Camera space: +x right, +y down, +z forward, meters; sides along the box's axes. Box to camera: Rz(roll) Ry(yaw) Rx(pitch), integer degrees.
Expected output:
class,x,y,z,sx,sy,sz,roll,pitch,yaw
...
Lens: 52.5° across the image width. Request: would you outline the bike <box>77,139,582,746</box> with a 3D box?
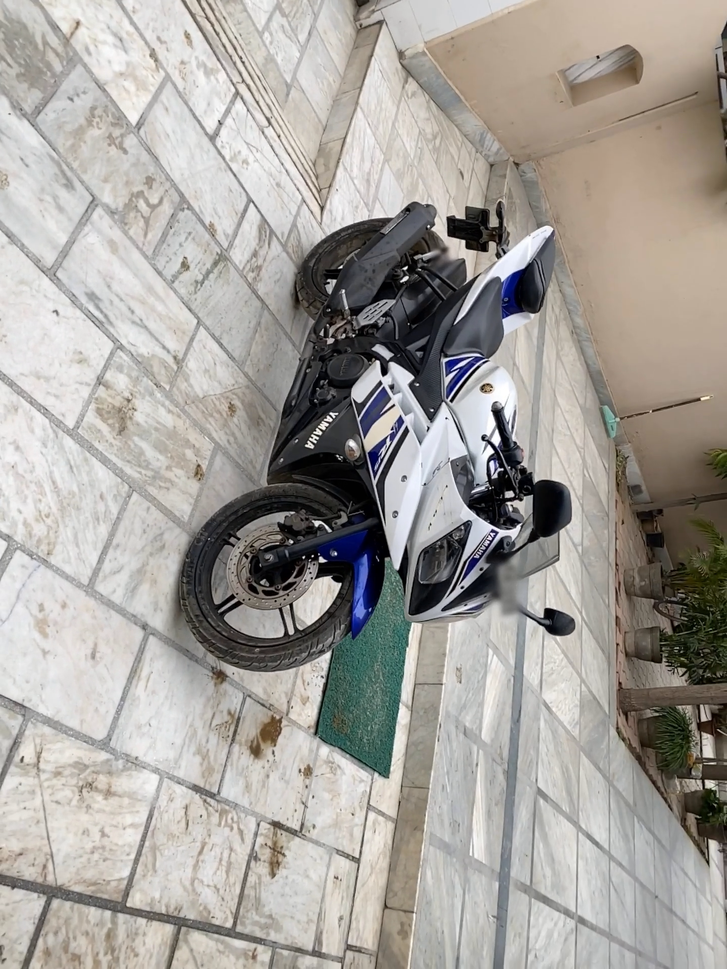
class,x,y,z,sx,sy,sz,roll,pitch,yaw
bike,0.067,-0.180,2.521,0.736,0.902,1.885,54,44,-42
